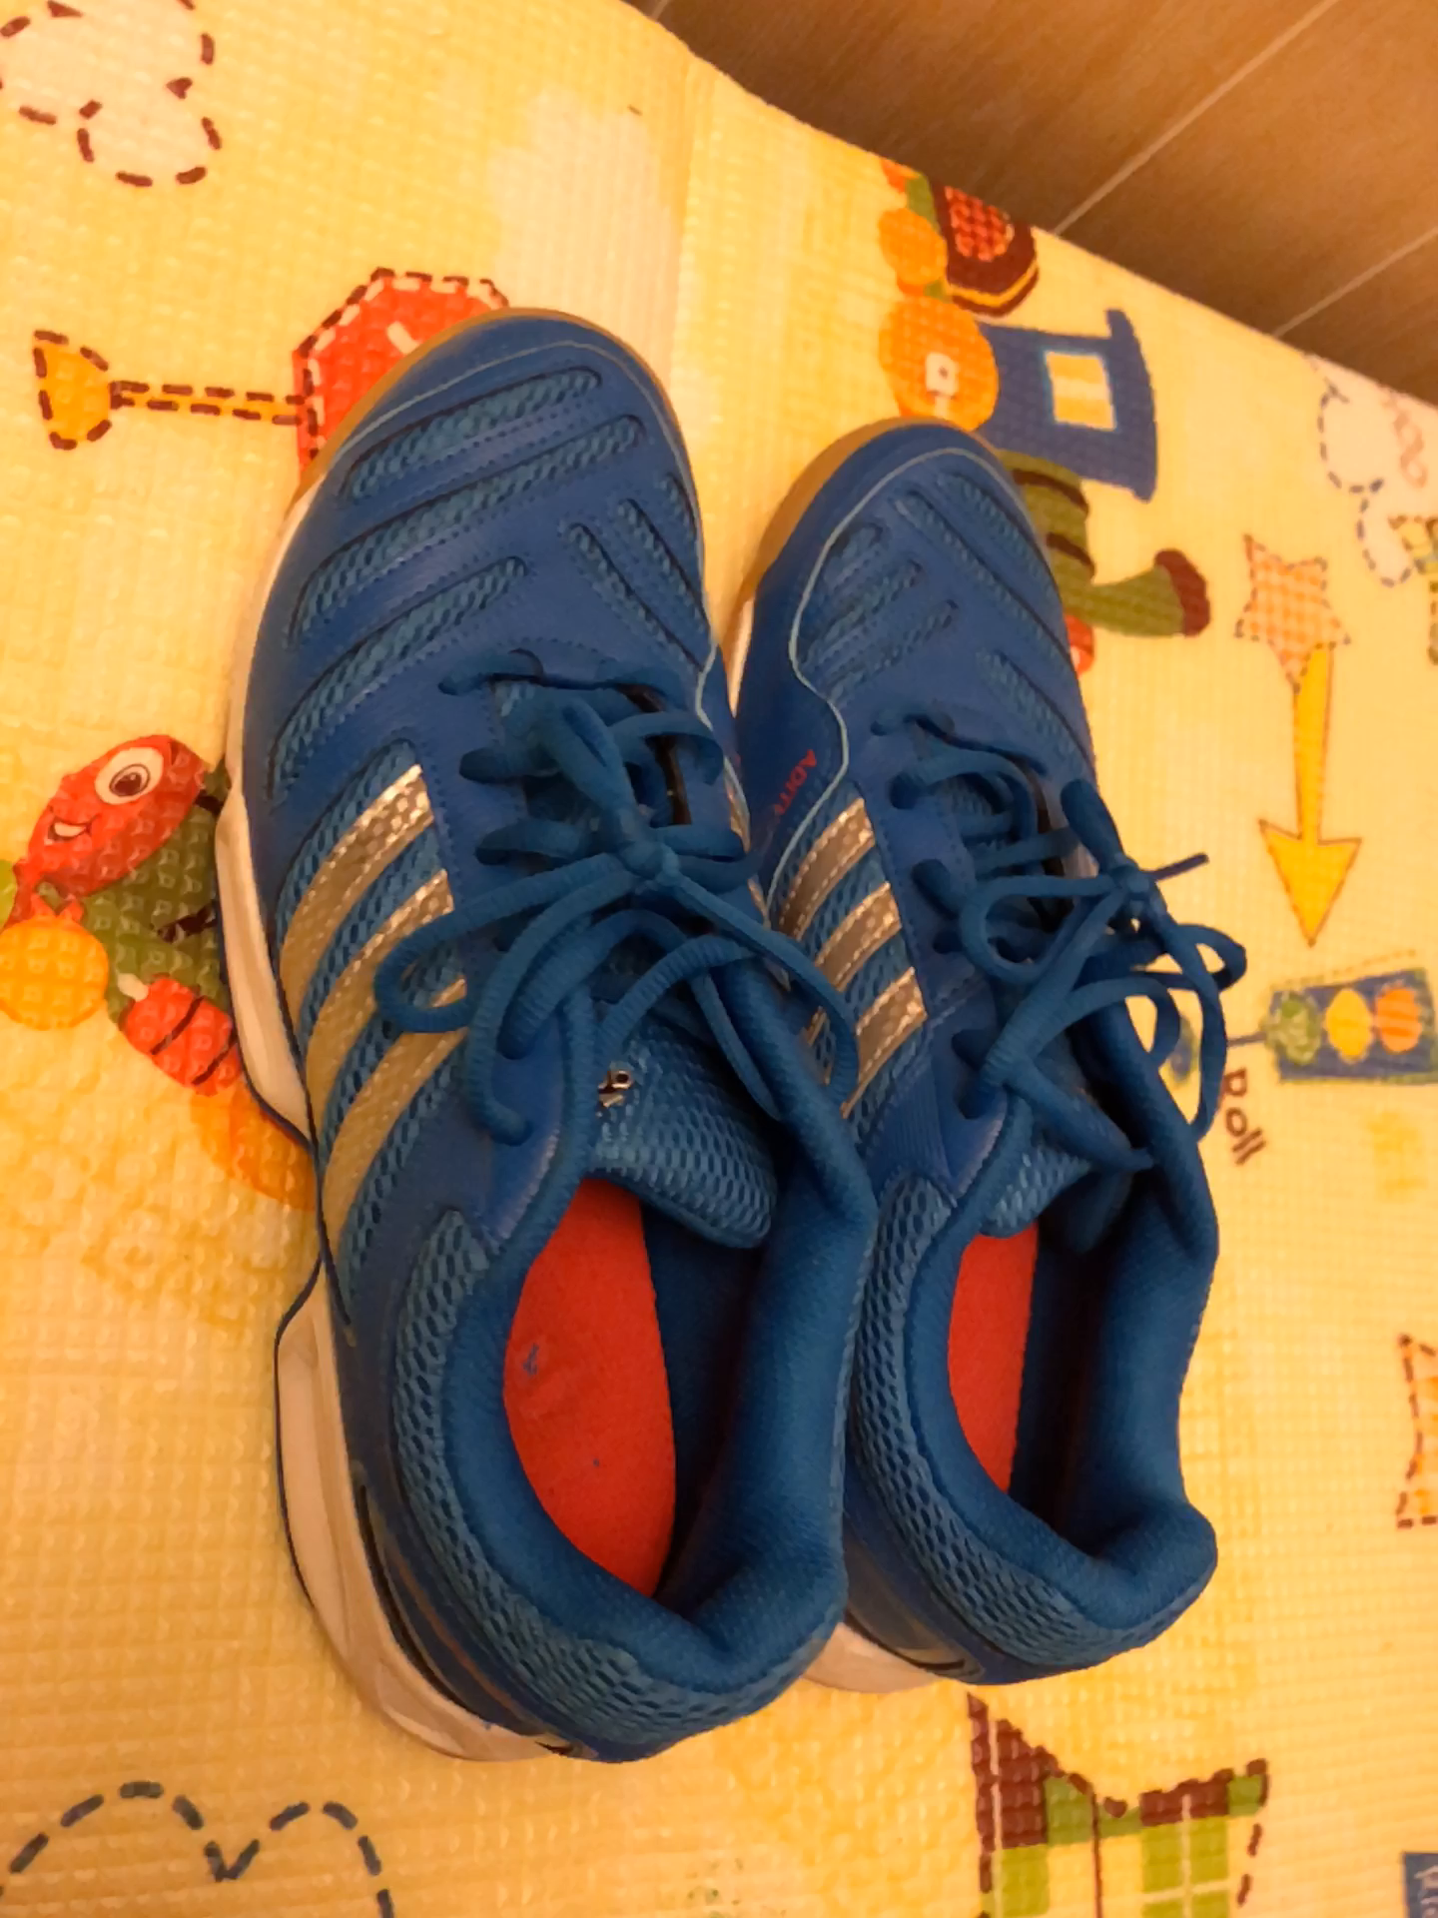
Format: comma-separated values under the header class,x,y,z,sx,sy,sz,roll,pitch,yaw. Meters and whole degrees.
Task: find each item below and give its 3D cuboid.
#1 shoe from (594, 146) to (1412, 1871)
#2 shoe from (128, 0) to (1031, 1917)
class,x,y,z,sx,sy,sz,roll,pitch,yaw
shoe,0.051,0.008,0.343,0.110,0.120,0.290,6,78,-27
shoe,-0.034,-0.007,0.301,0.110,0.139,0.290,5,79,-27
